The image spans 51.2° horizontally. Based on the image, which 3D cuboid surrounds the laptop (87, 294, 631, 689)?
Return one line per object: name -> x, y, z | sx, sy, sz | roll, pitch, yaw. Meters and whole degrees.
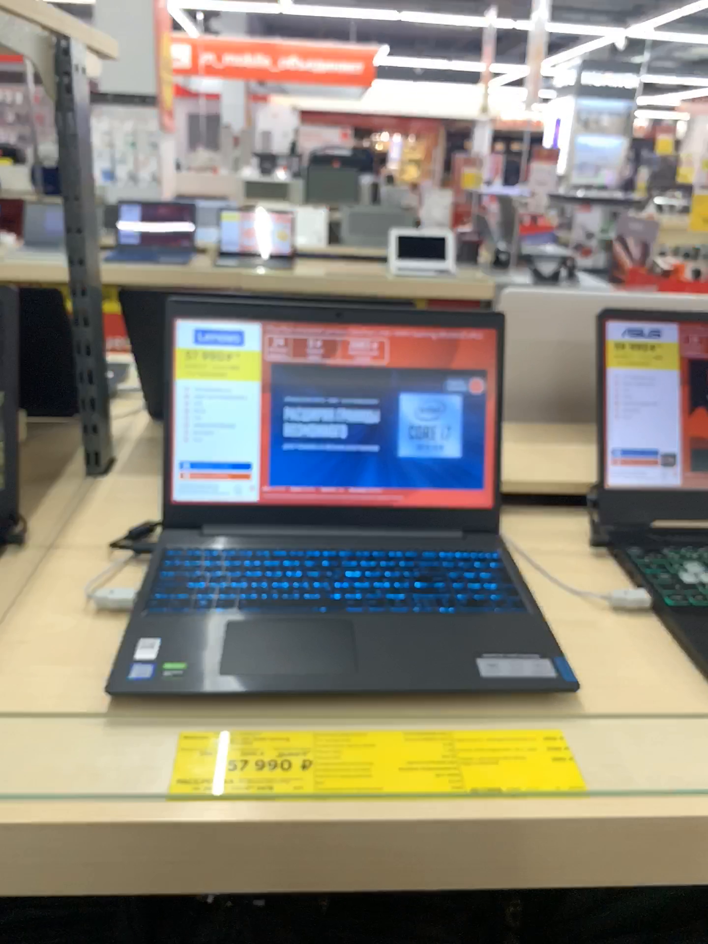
laptop -> -0.010, -0.010, 0.682 | 0.357, 0.223, 0.349 | 1, 23, -5
